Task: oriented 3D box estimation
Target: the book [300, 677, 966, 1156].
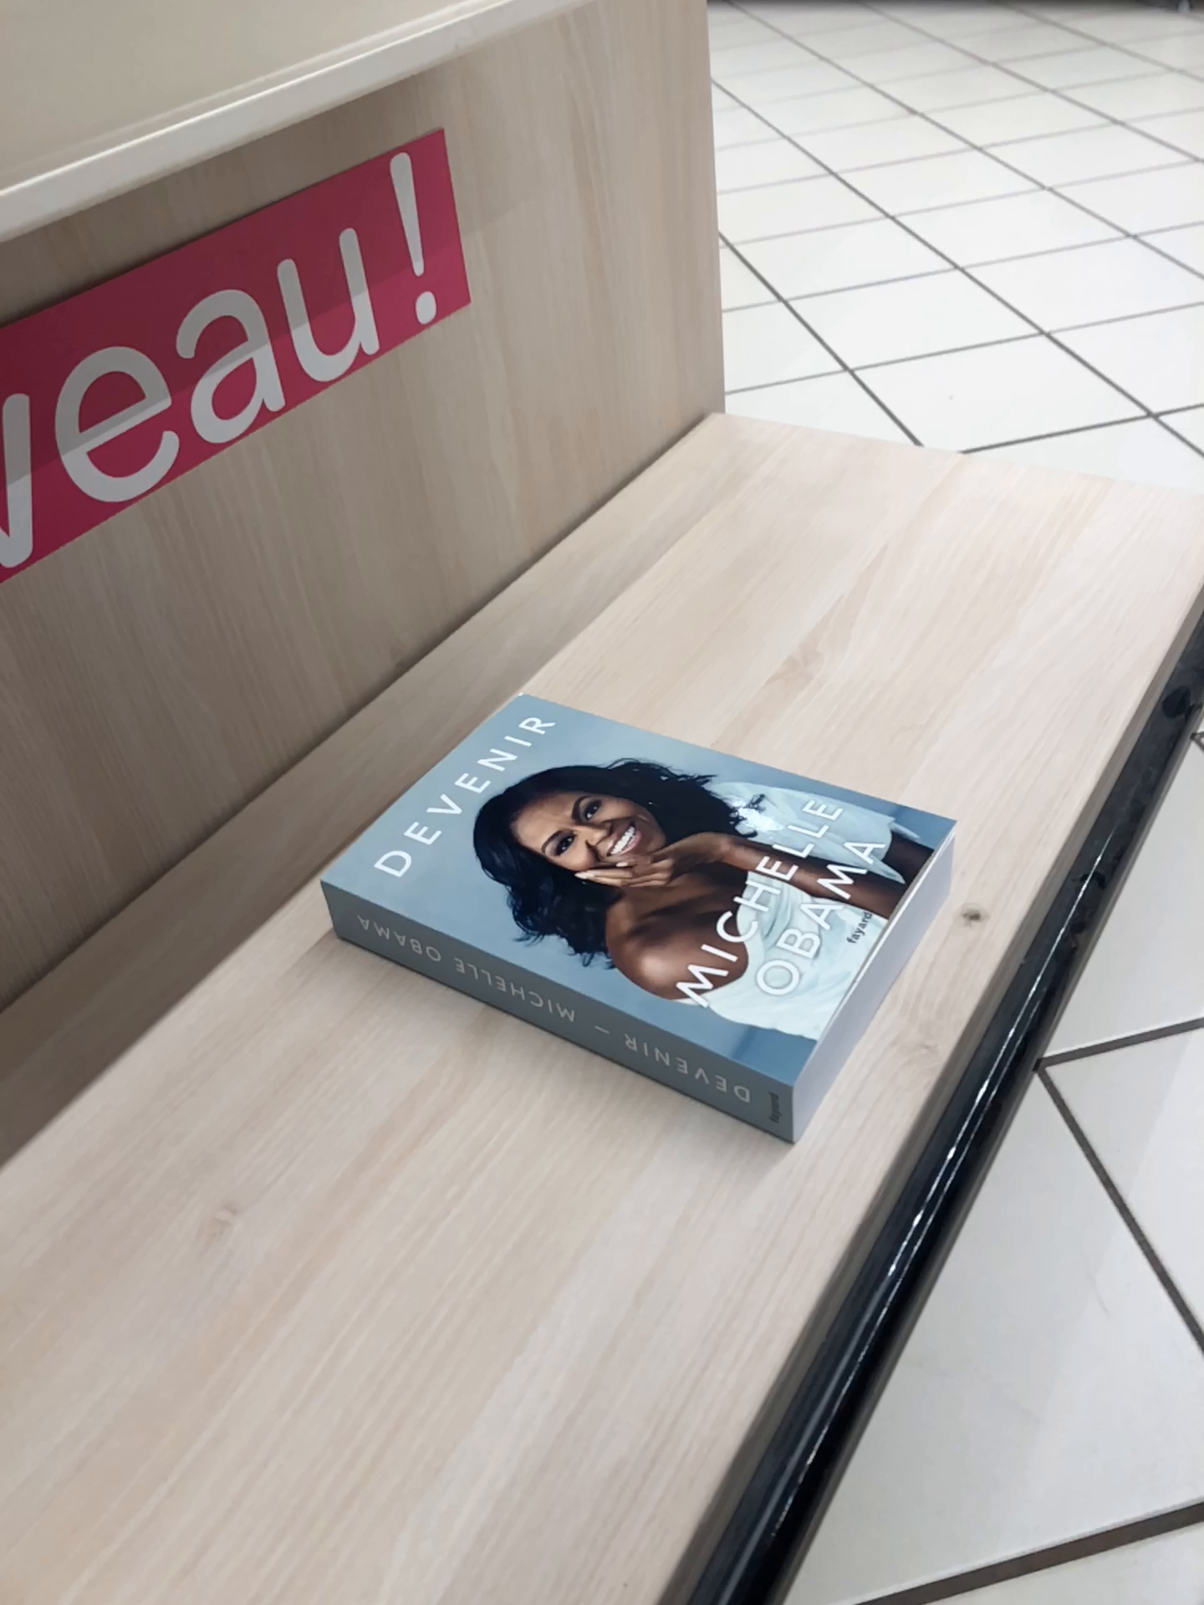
[{"bbox_3d":[0.014,0.034,0.586,0.240,0.040,0.164,20,46,27],"label":"book"}]
